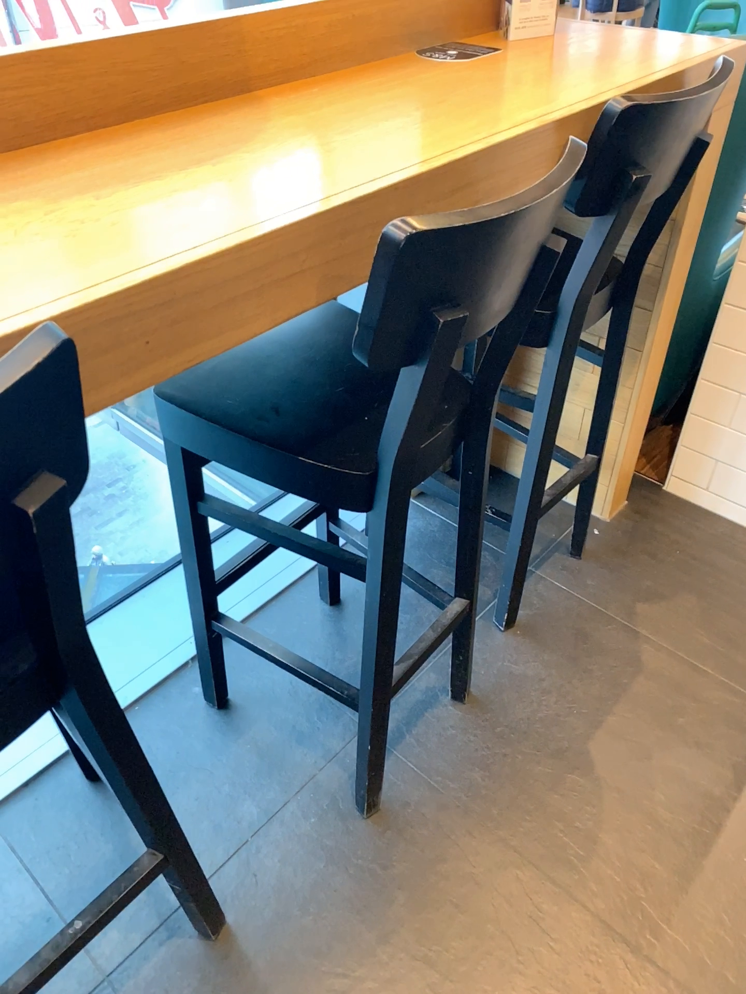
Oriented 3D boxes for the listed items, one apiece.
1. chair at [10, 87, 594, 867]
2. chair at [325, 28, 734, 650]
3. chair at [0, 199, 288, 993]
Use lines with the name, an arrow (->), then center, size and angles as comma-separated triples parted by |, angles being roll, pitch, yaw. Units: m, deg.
chair -> -0.061, 0.004, 1.154 | 0.462, 1.001, 0.455 | 25, 46, 29
chair -> 0.247, -0.275, 1.465 | 0.462, 1.001, 0.425 | 27, 47, 30
chair -> -0.438, 0.282, 0.840 | 0.462, 1.001, 0.394 | 29, 48, 31
